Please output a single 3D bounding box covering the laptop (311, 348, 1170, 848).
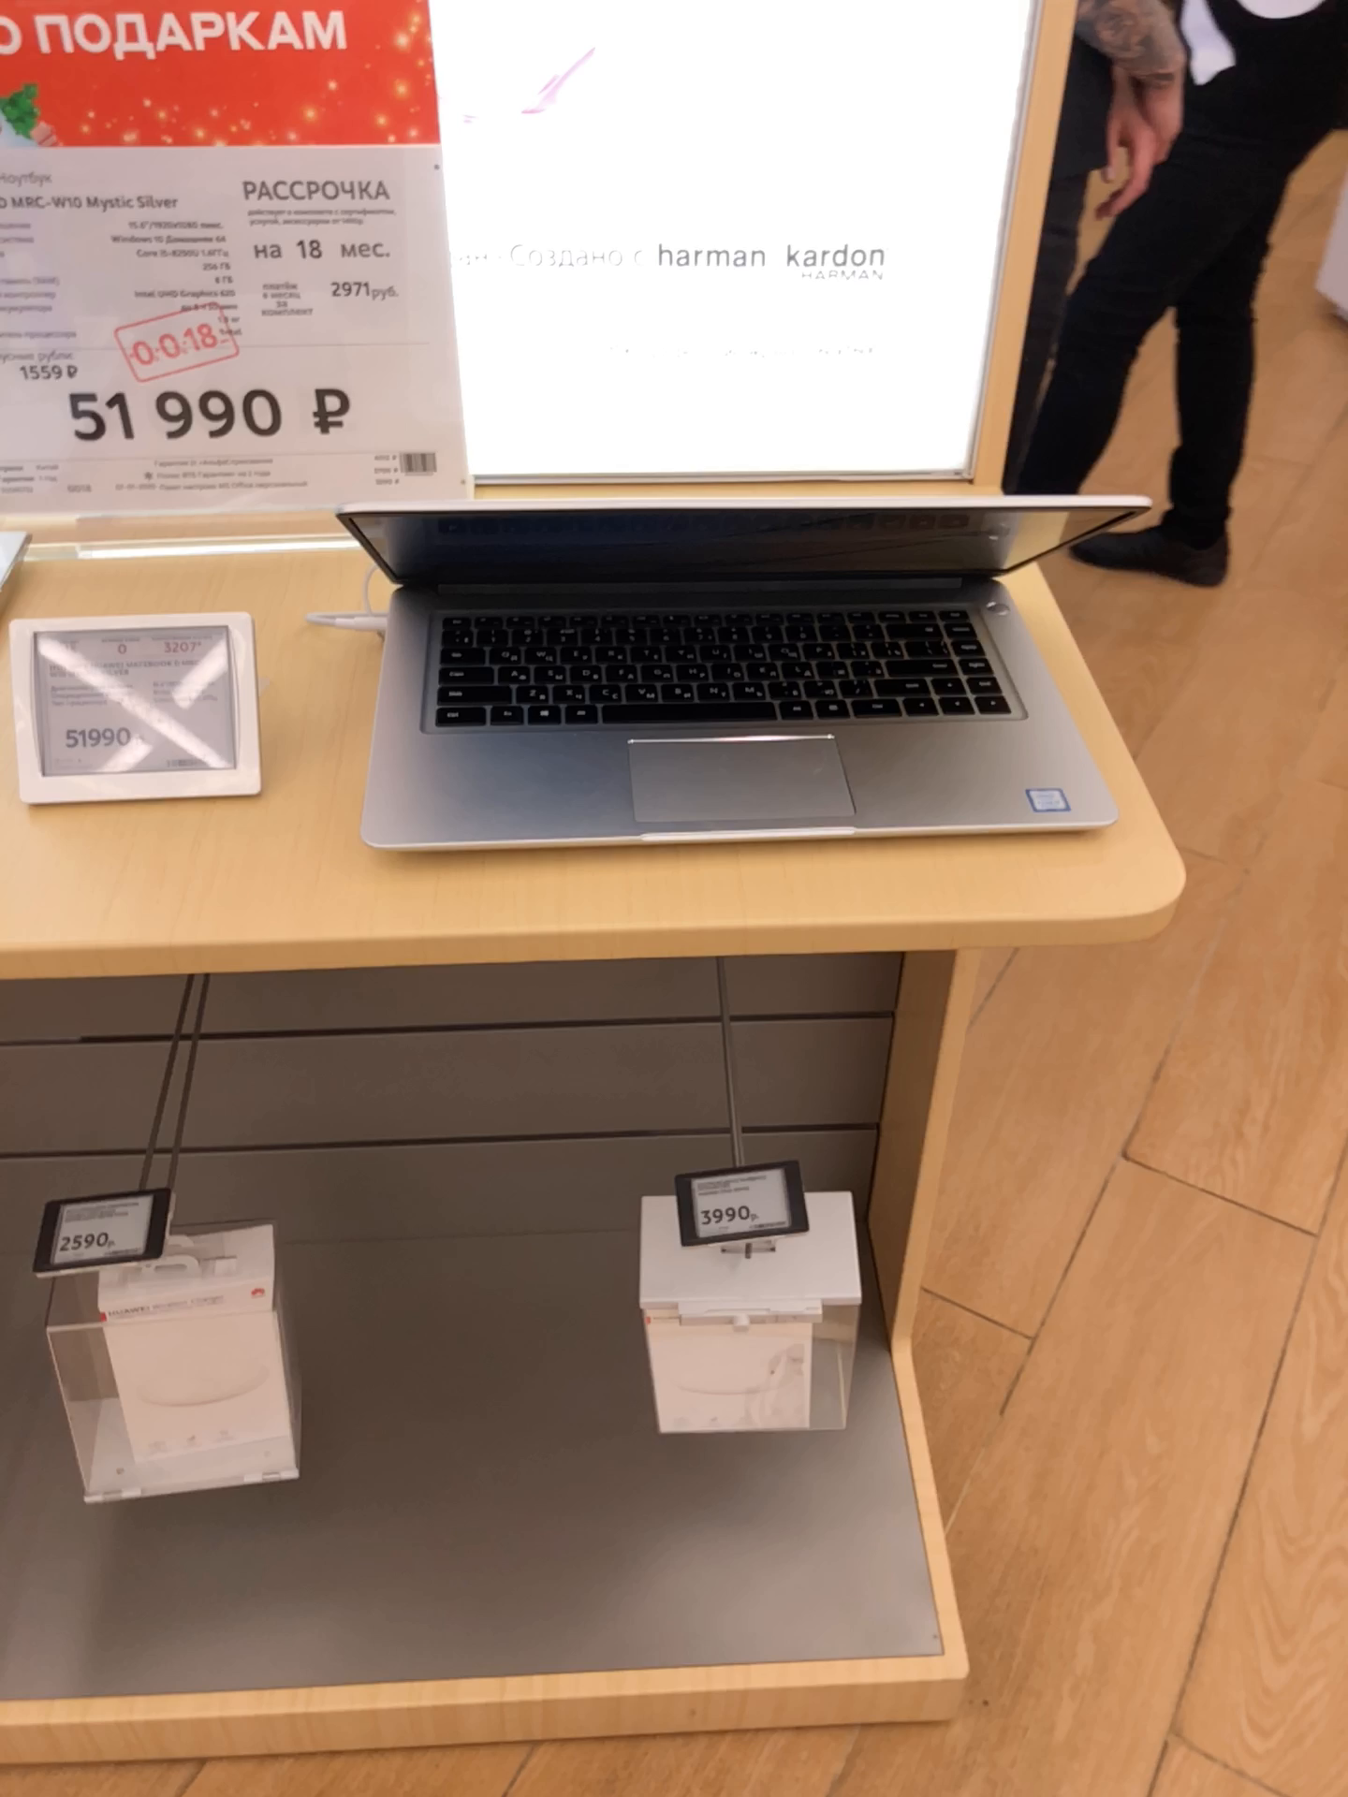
[{"bbox_3d":[0.019,-0.155,0.717,0.342,0.135,0.231,-2,40,-4],"label":"laptop"}]
